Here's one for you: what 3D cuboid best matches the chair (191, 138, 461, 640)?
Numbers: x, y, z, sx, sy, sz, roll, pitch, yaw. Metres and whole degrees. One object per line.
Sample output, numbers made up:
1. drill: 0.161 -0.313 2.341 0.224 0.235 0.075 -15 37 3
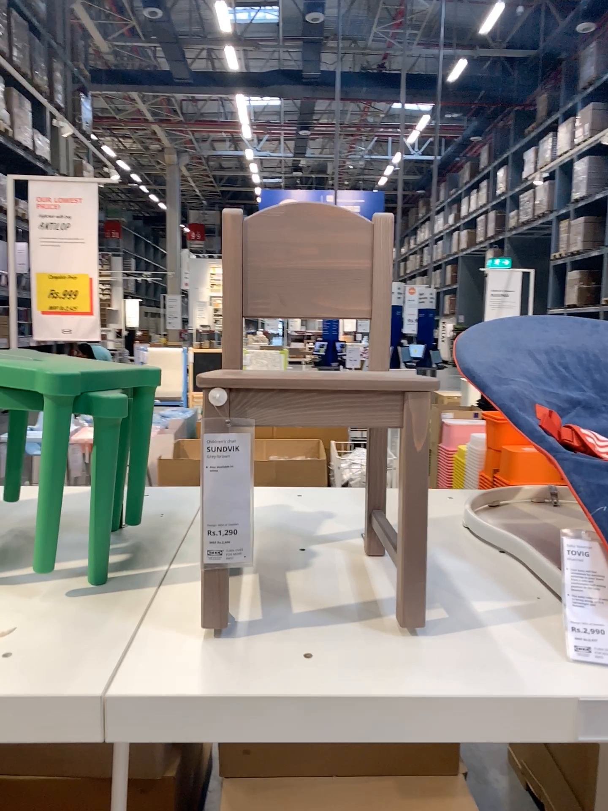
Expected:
1. chair: 0.013 -0.024 0.804 0.270 0.519 0.320 0 7 -3
